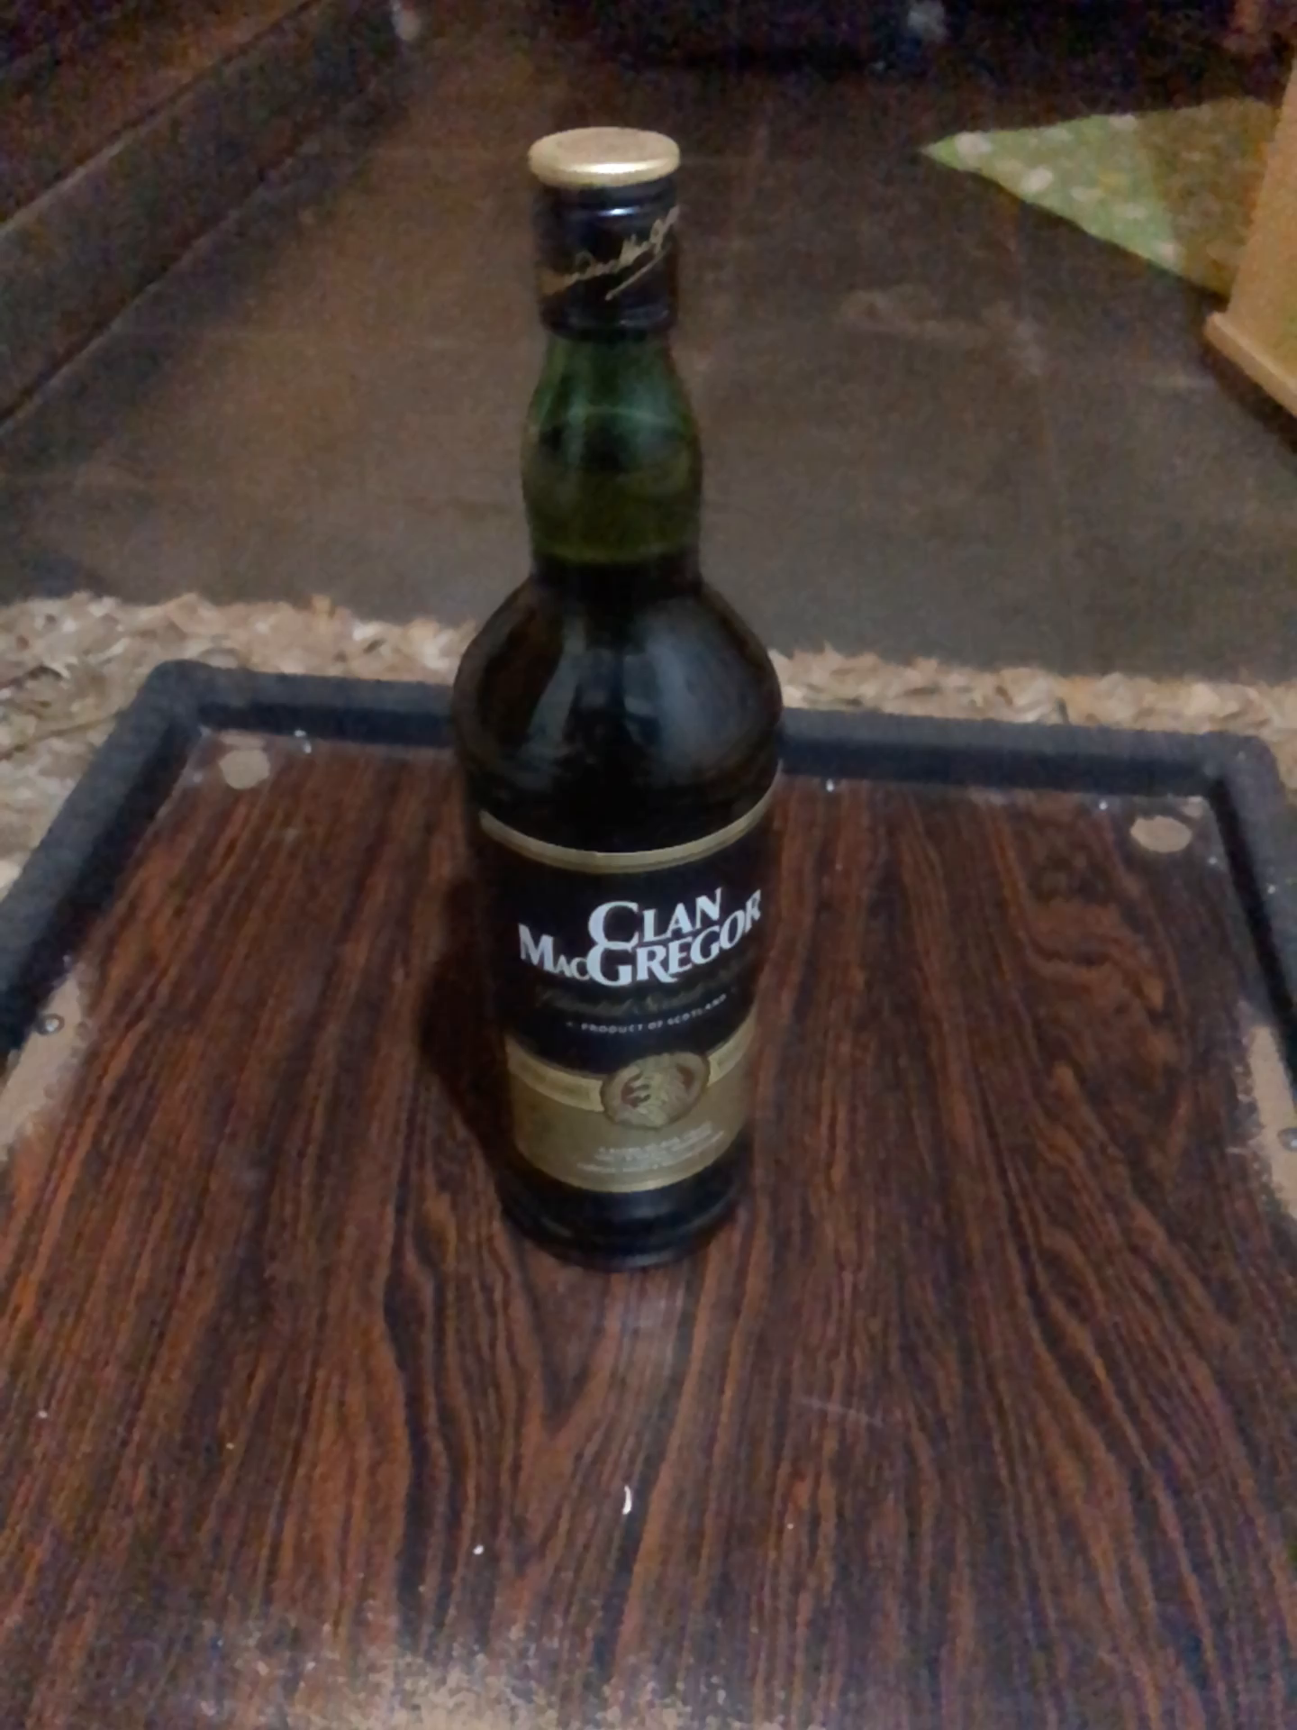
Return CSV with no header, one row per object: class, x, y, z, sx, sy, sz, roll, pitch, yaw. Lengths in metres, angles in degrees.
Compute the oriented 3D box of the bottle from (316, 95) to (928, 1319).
bottle,-0.011,-0.017,0.378,0.100,0.308,0.101,0,42,0
